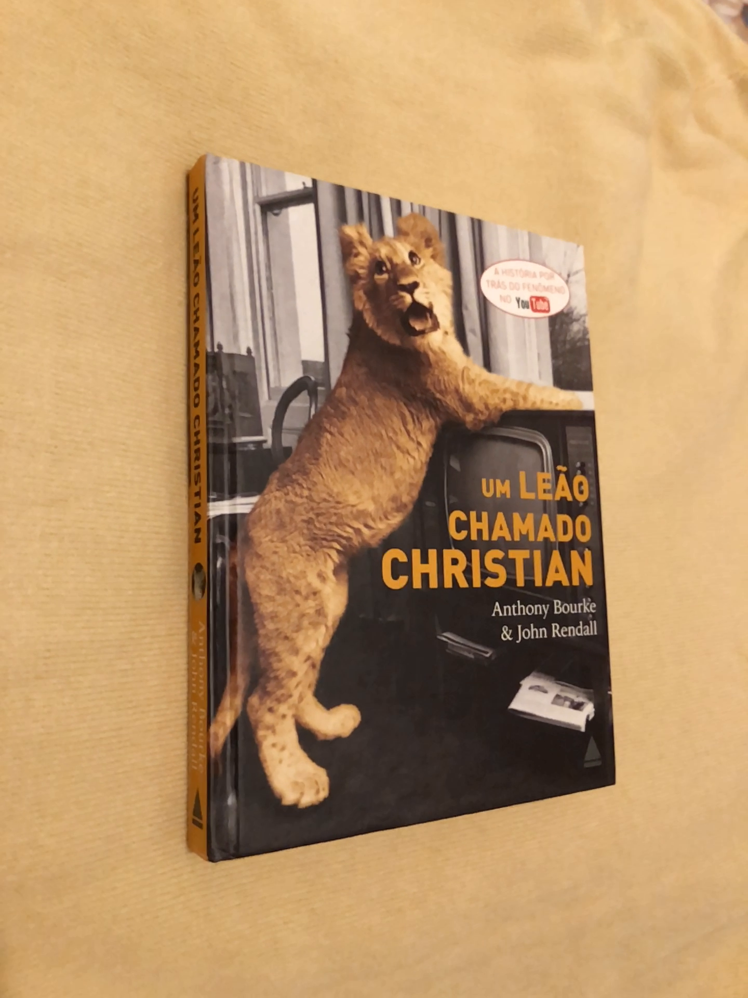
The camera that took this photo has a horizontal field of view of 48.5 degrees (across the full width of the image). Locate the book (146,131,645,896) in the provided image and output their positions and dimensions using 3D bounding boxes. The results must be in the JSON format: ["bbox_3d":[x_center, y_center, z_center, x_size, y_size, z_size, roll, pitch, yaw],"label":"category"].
[{"bbox_3d":[0.008,0.000,0.263,0.151,0.030,0.200,1,80,-28],"label":"book"}]
